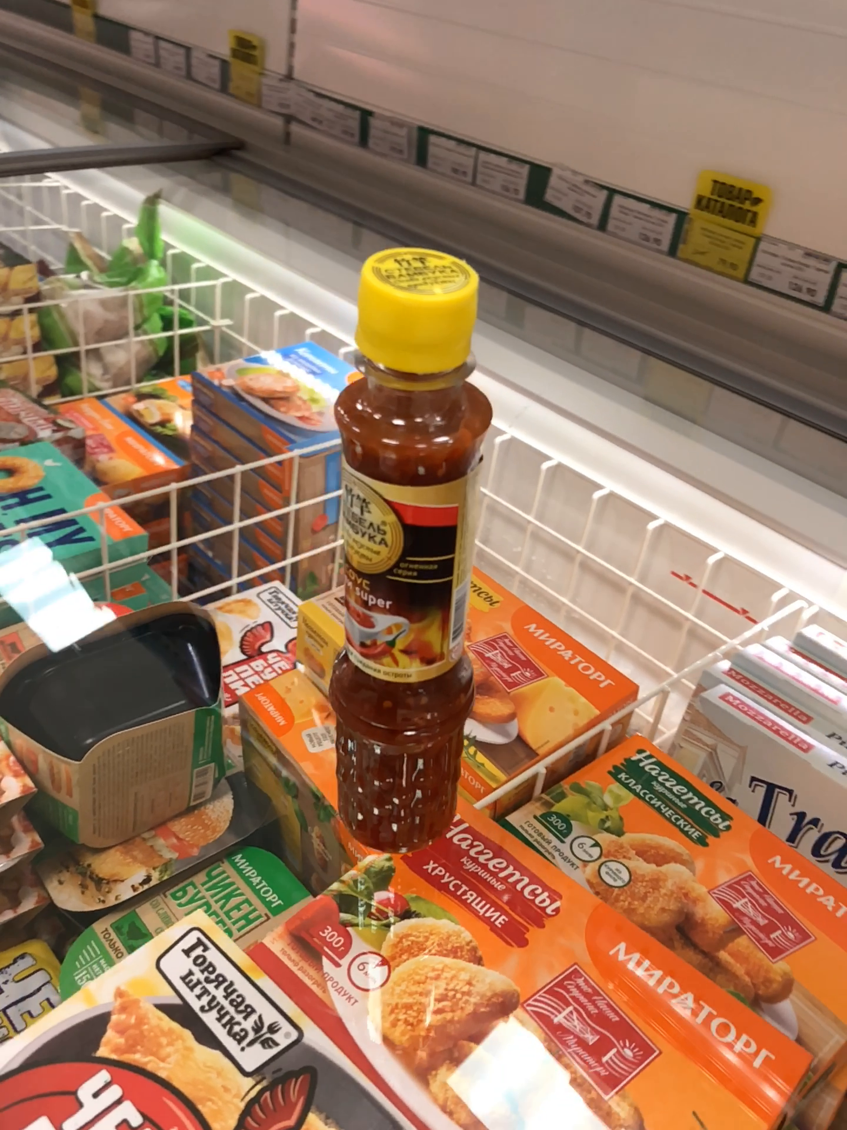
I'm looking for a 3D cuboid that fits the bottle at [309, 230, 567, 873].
[{"bbox_3d":[-0.004,0.008,0.306,0.048,0.212,0.047,4,37,-3],"label":"bottle"}]
